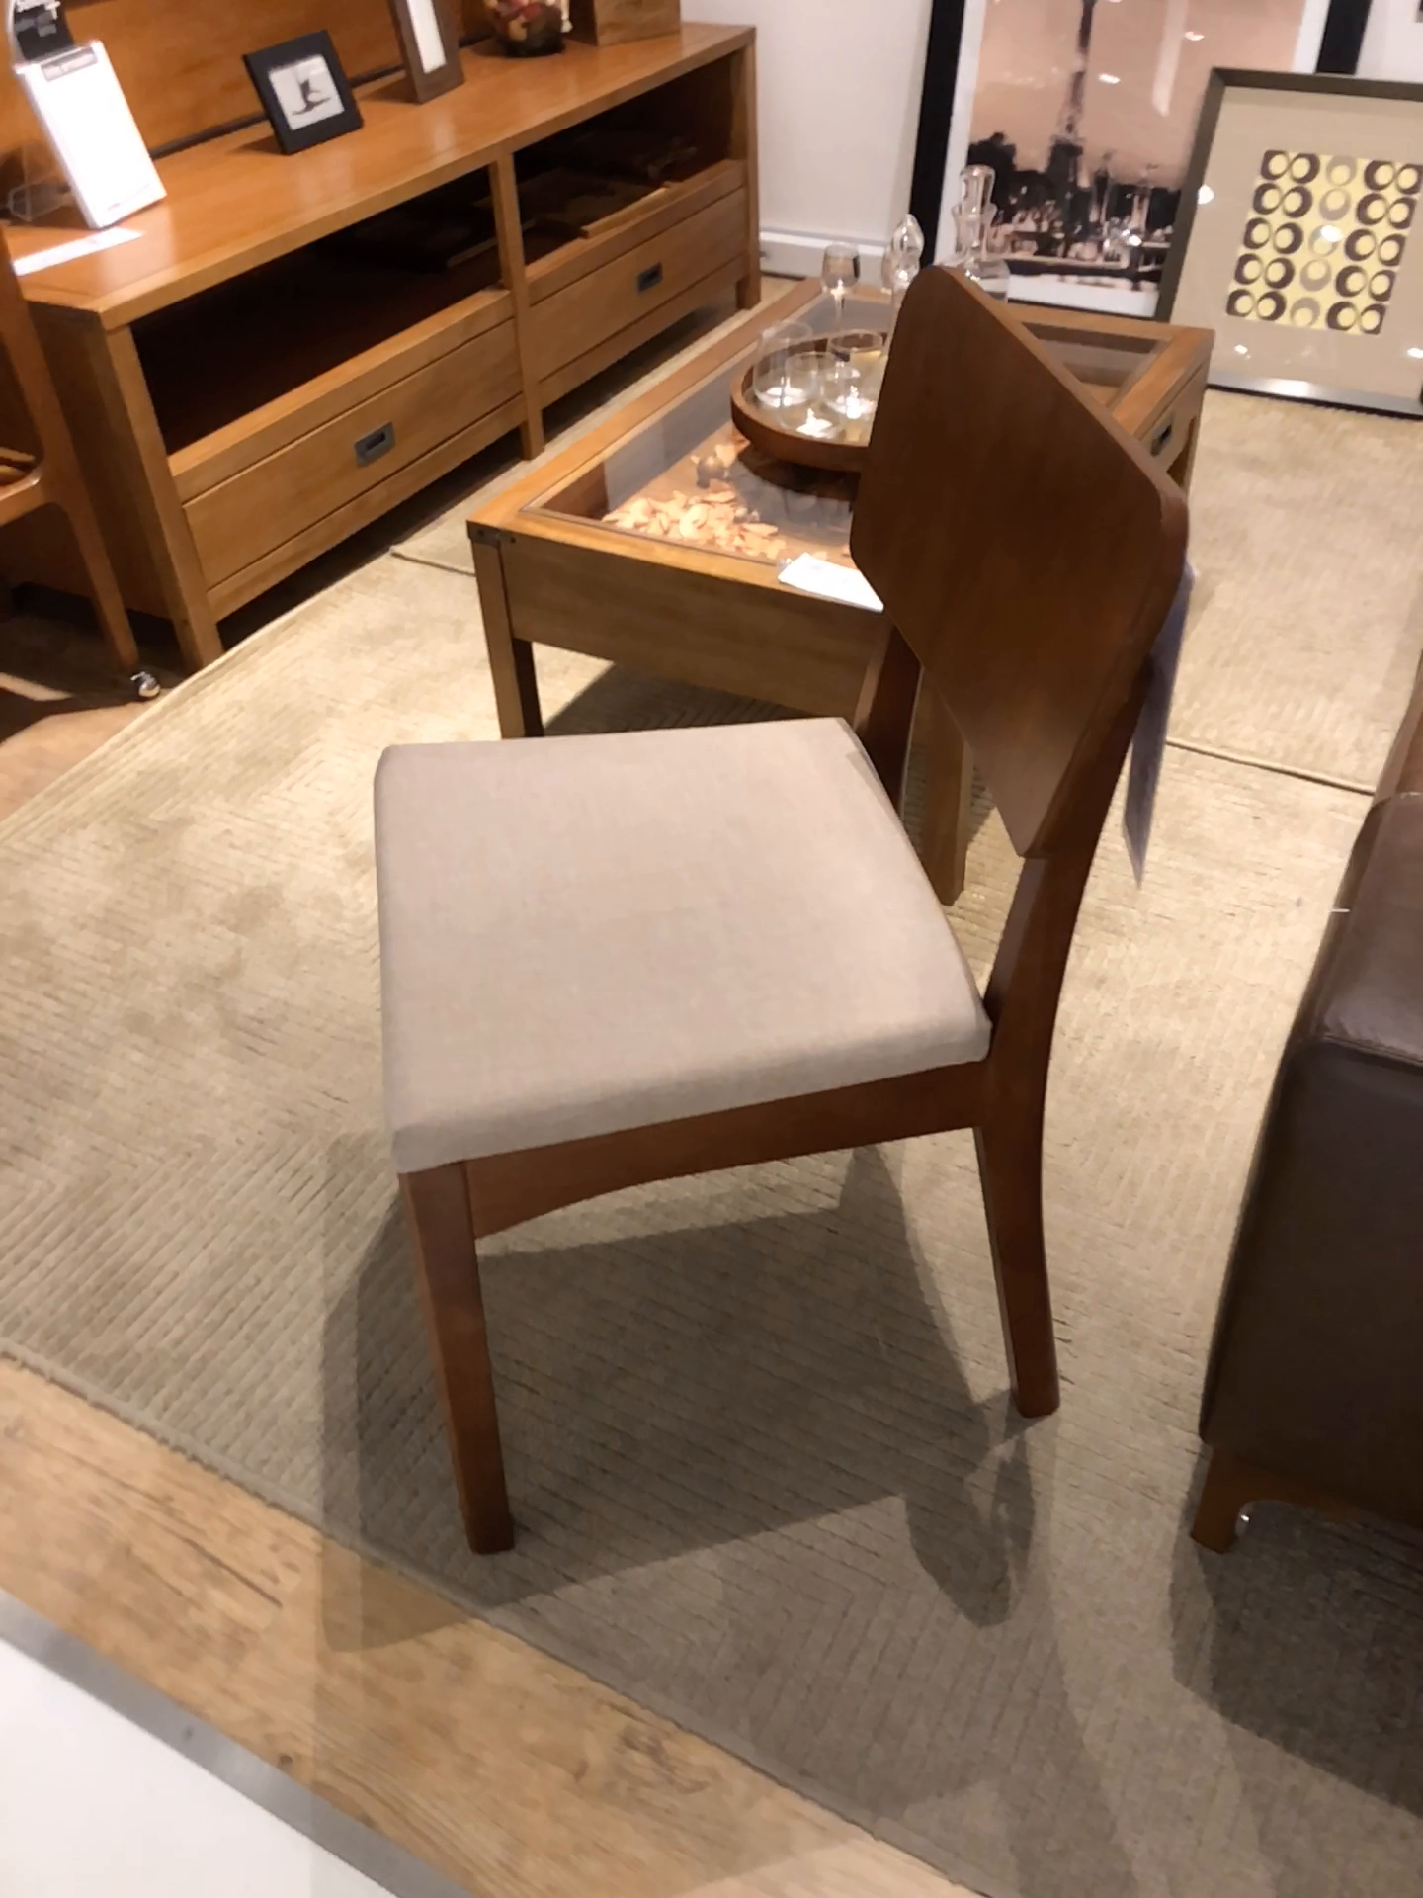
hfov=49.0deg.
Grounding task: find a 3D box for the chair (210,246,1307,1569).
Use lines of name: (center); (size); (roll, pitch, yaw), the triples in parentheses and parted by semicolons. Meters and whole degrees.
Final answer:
chair: (0.004, -0.017, 1.190); (0.530, 0.794, 0.514); (-8, 40, -6)
